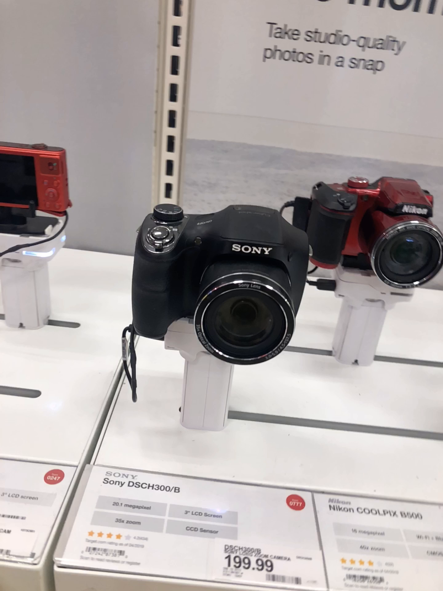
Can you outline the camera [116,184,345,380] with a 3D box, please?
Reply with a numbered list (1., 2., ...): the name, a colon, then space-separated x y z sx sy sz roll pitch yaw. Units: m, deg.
1. camera: 0.003 -0.013 0.337 0.130 0.090 0.090 6 29 0
